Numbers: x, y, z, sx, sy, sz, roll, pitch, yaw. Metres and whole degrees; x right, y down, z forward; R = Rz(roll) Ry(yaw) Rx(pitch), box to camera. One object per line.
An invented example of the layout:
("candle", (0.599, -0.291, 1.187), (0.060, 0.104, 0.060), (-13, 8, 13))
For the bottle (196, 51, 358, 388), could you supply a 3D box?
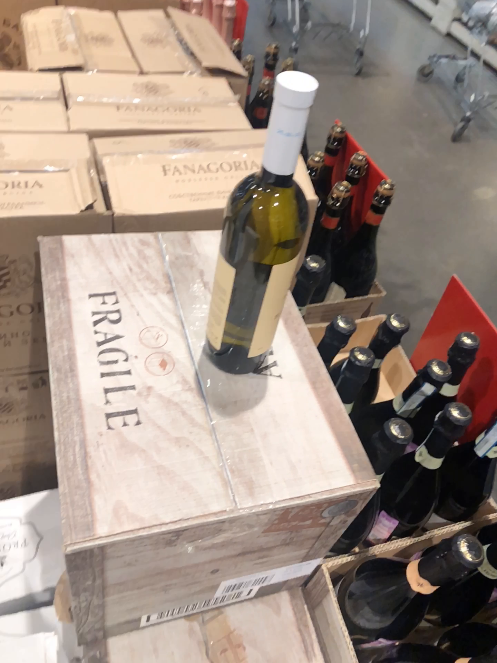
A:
("bottle", (0.015, -0.080, 0.508), (0.080, 0.298, 0.091), (13, 47, -1))
